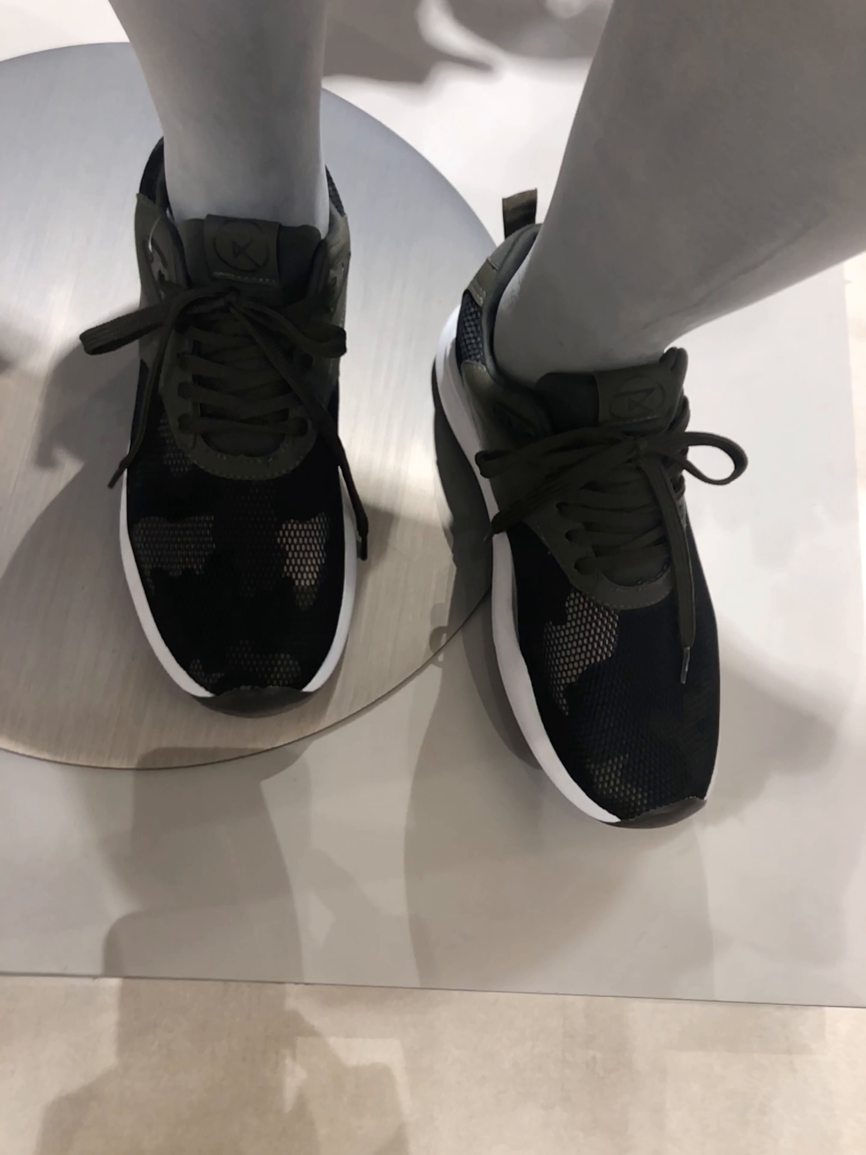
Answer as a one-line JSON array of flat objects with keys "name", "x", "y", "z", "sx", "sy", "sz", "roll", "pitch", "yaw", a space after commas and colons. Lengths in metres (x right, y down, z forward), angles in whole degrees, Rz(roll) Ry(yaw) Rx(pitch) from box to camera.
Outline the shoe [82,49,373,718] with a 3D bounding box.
[{"name": "shoe", "x": -0.088, "y": -0.077, "z": 0.427, "sx": 0.100, "sy": 0.120, "sz": 0.260, "roll": 0, "pitch": 75, "yaw": -11}]

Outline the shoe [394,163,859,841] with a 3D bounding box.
[{"name": "shoe", "x": 0.073, "y": -0.032, "z": 0.447, "sx": 0.110, "sy": 0.110, "sz": 0.280, "roll": -11, "pitch": 77, "yaw": -13}]
